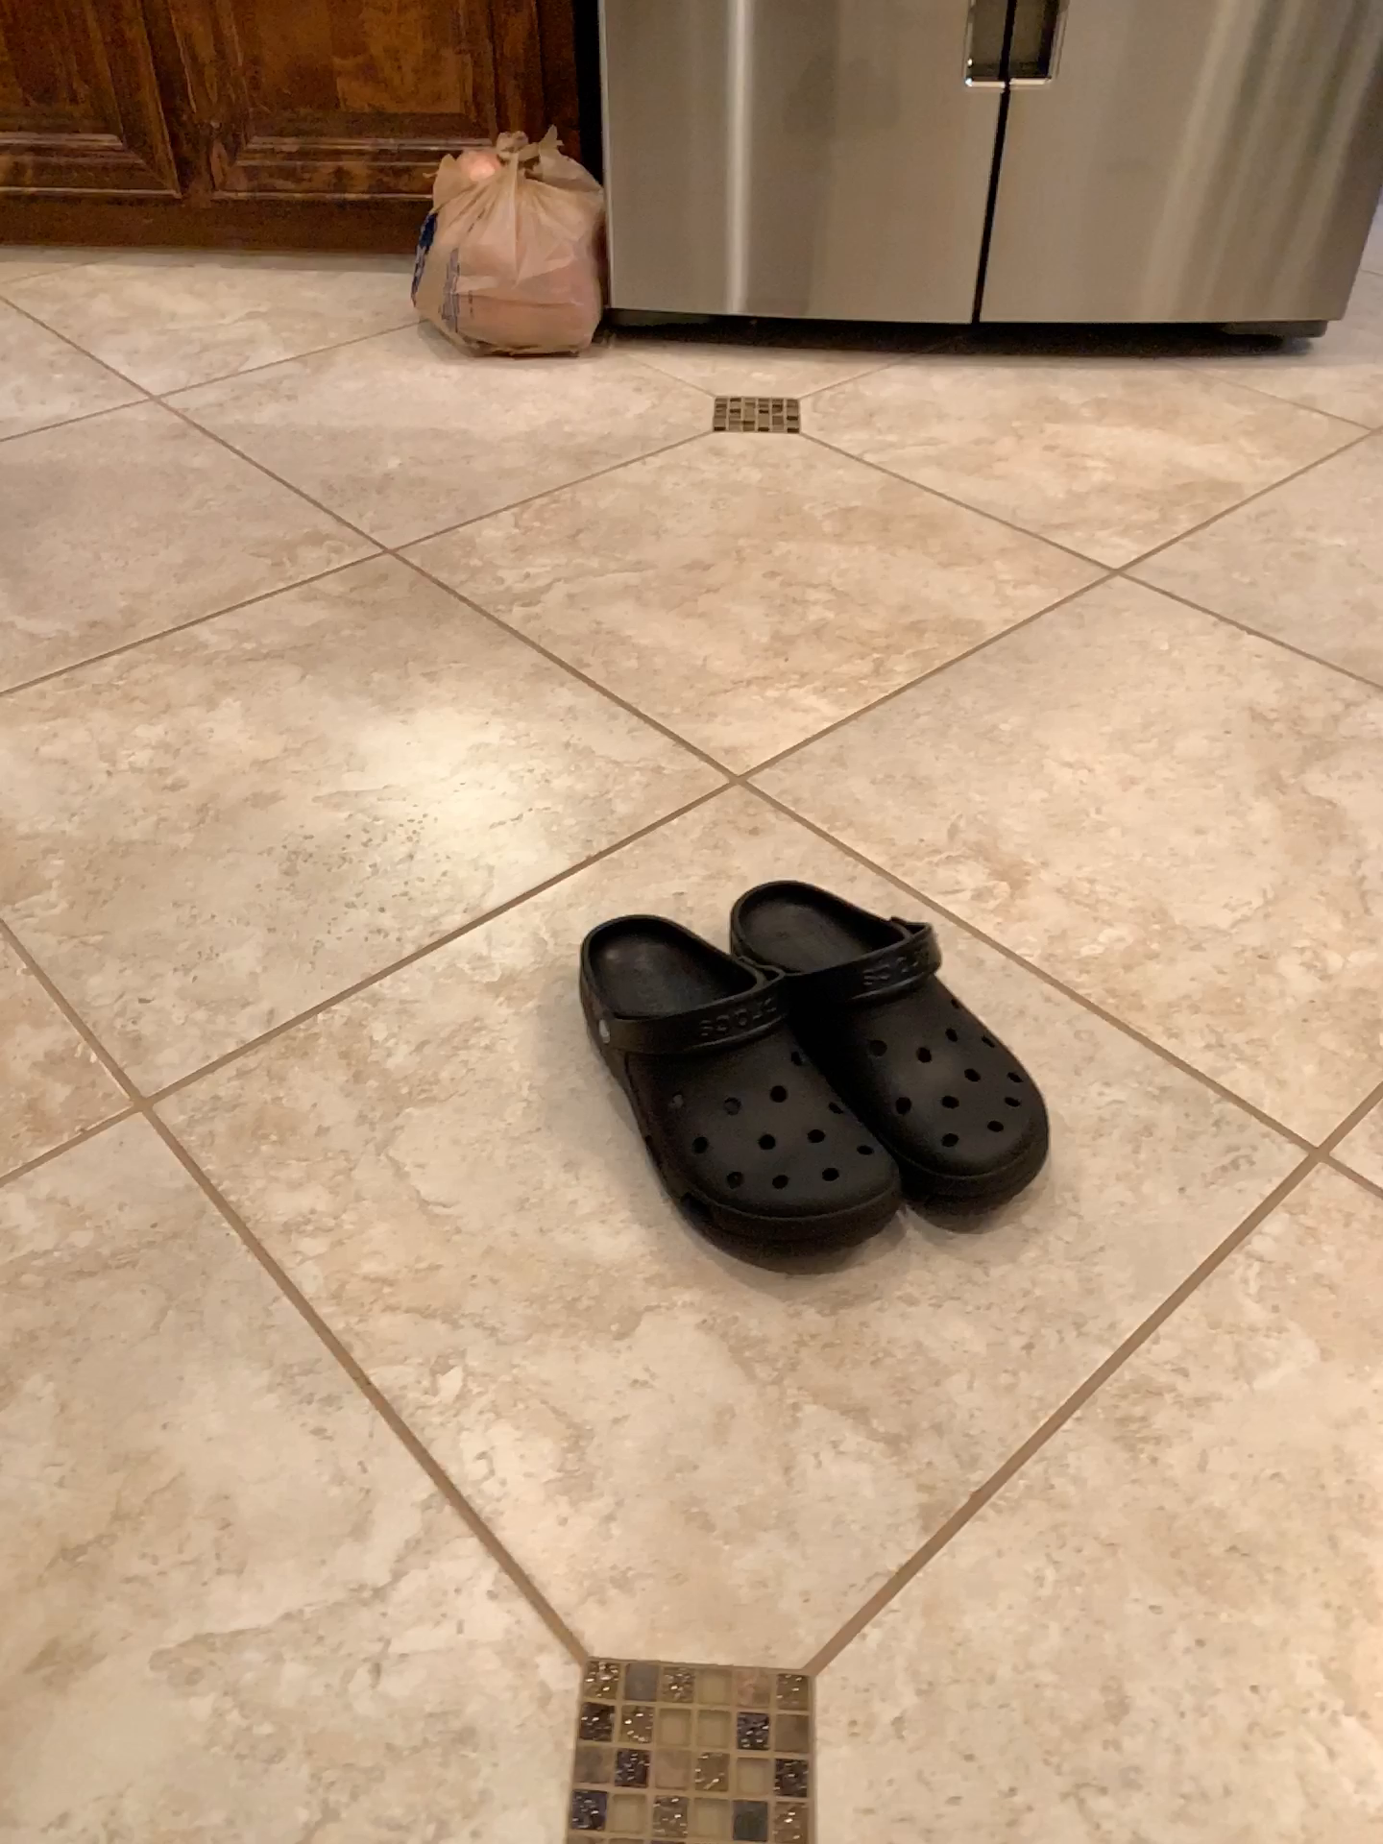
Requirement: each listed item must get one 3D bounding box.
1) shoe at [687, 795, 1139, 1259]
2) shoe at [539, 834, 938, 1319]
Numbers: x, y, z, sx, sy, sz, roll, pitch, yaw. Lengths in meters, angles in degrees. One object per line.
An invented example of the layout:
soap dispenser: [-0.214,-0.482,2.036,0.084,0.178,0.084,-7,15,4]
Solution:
shoe: [0.119,0.050,0.857,0.123,0.085,0.279,-20,46,-21]
shoe: [0.016,0.077,0.831,0.113,0.085,0.279,-17,45,-18]
